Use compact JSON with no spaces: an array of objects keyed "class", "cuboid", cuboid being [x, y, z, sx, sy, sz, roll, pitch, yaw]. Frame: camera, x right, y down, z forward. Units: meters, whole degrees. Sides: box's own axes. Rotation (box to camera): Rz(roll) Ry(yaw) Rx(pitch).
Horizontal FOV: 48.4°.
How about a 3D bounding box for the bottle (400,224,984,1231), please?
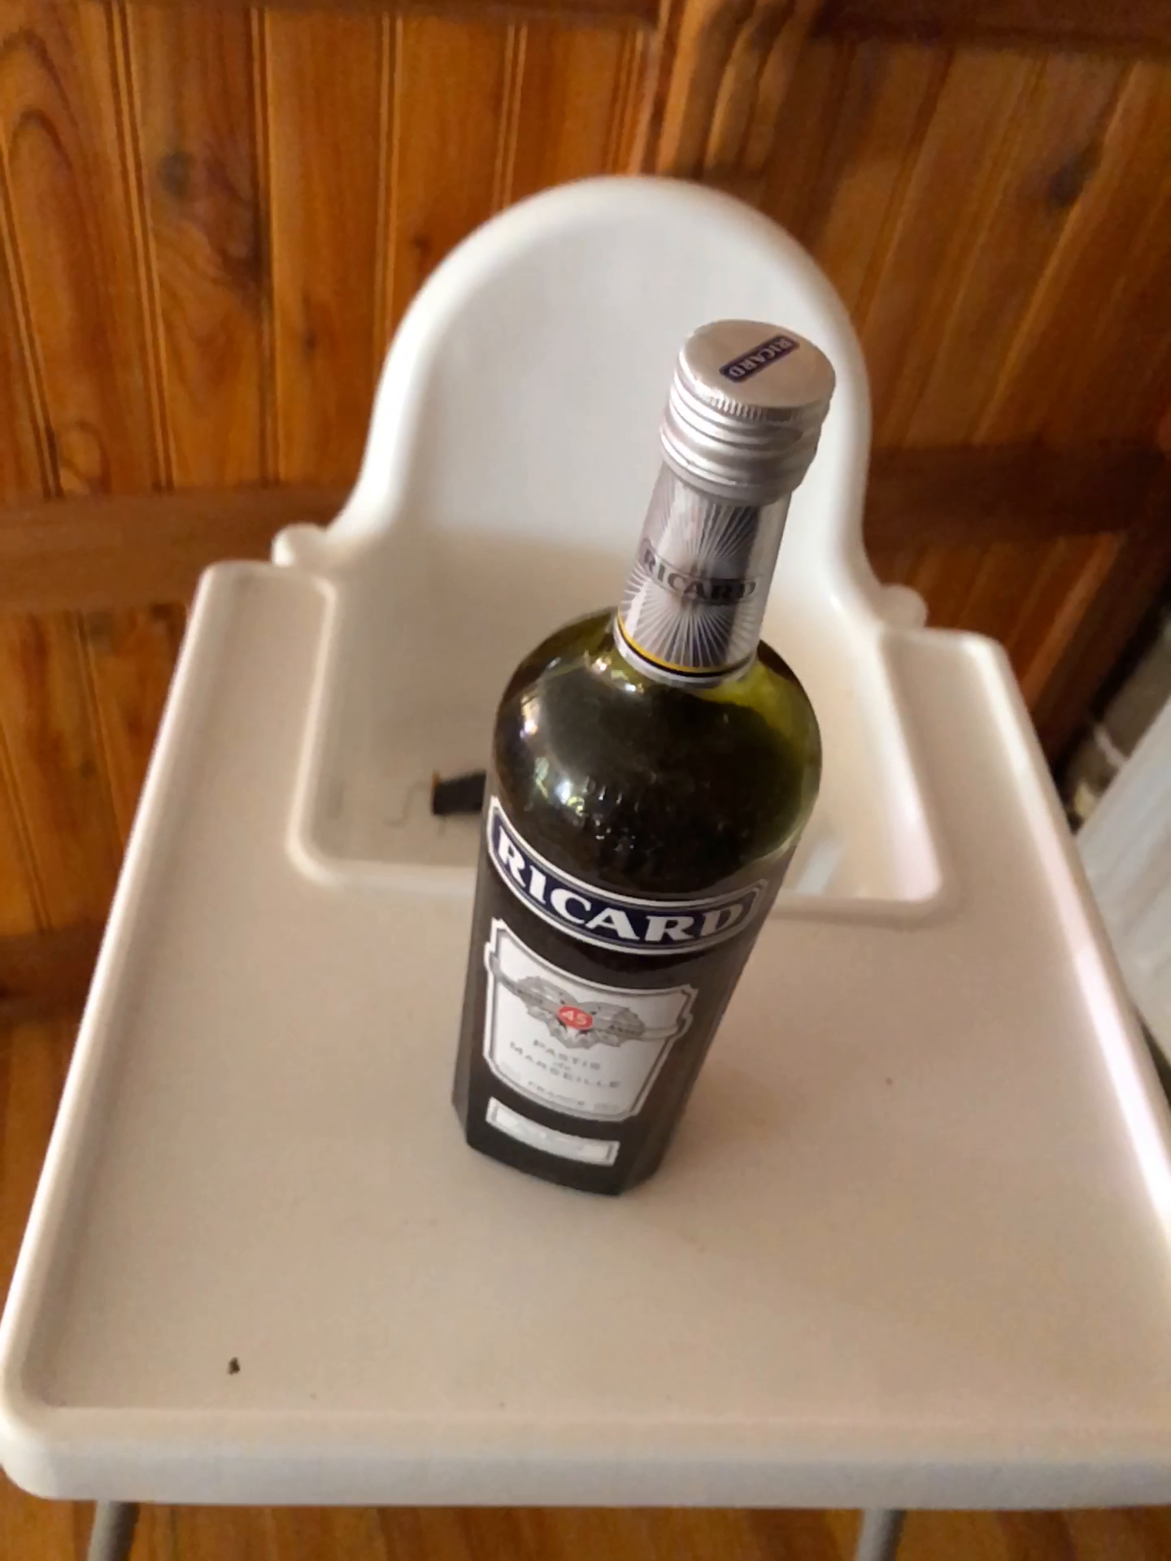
[{"class":"bottle","cuboid":[0.009,0.017,0.363,0.090,0.298,0.070,18,47,5]}]
